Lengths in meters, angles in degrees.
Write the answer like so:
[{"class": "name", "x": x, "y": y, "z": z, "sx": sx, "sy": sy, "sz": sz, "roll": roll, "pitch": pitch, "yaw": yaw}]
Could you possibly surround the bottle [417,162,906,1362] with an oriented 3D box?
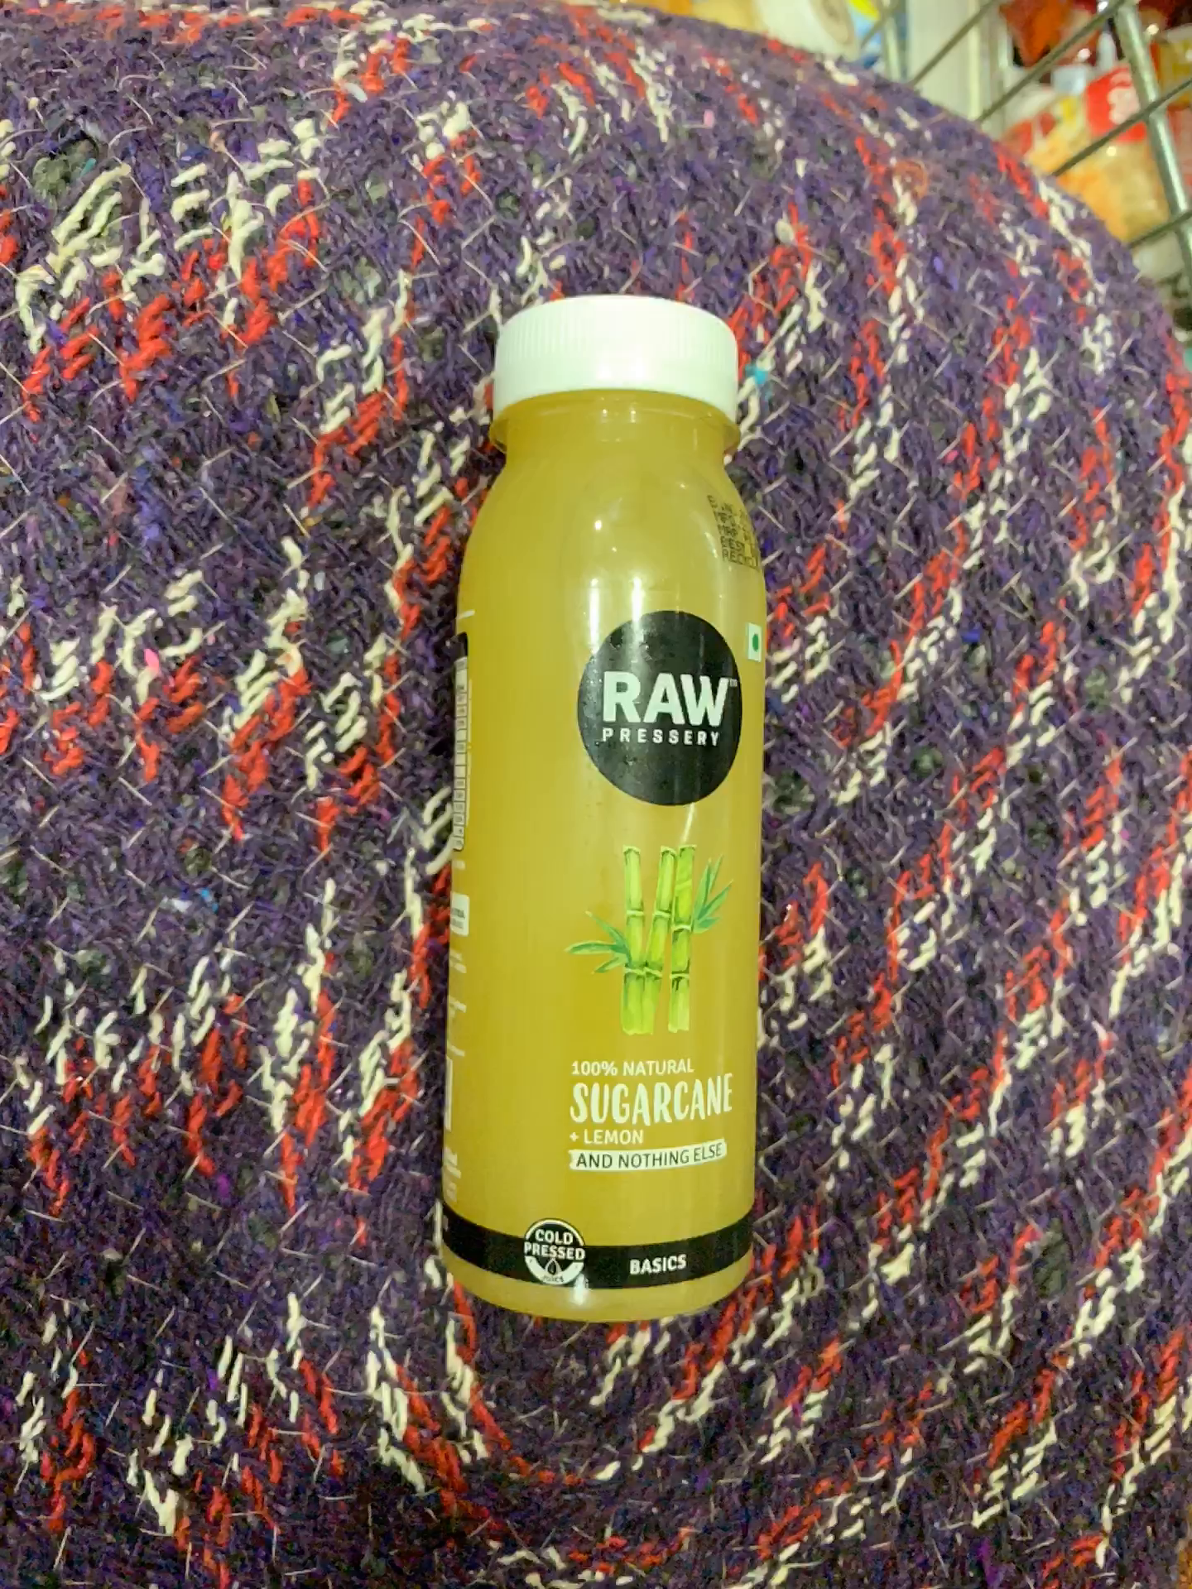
[{"class": "bottle", "x": 0.008, "y": -0.004, "z": 0.200, "sx": 0.060, "sy": 0.050, "sz": 0.160, "roll": 1, "pitch": 91, "yaw": -20}]
